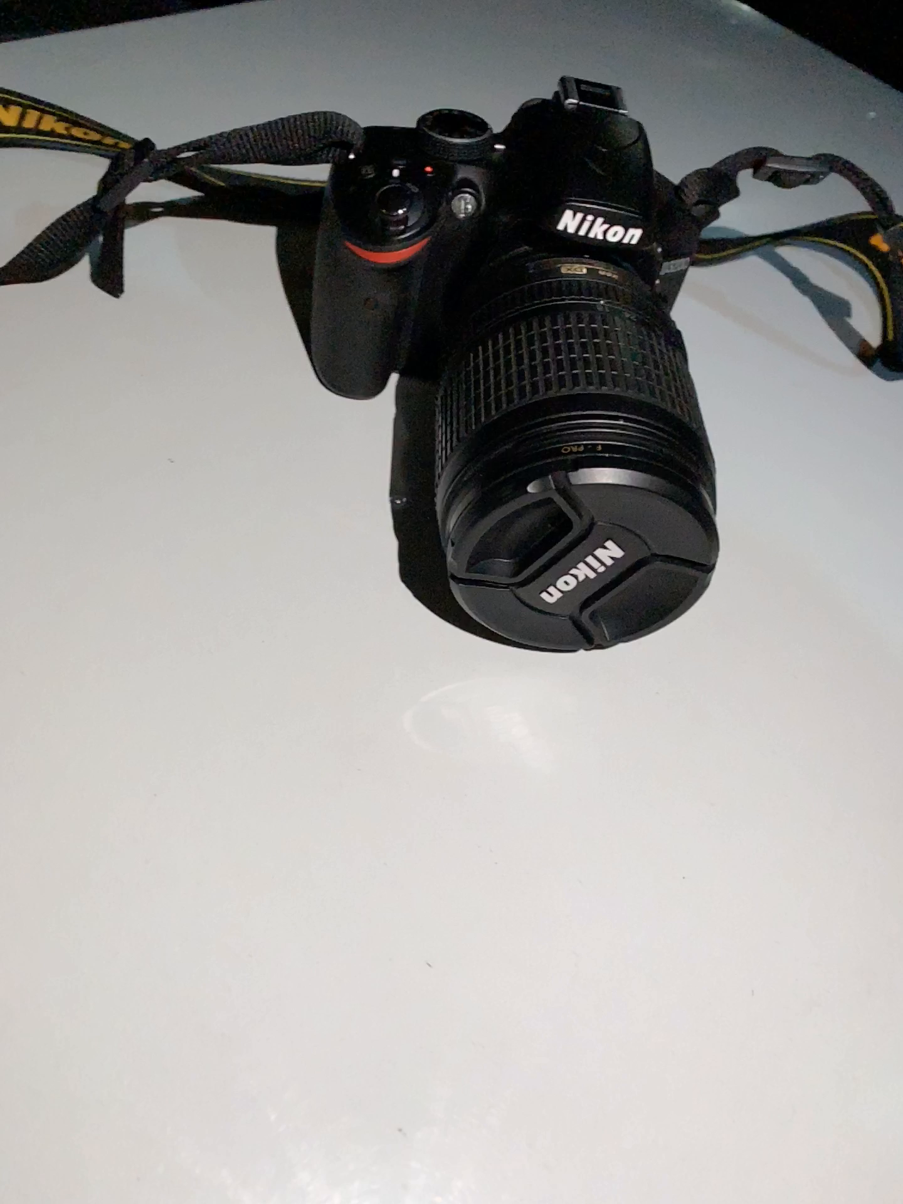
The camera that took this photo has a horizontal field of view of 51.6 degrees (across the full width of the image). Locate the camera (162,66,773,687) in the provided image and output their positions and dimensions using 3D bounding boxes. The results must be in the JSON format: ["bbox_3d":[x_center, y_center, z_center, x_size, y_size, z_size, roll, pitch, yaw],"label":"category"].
[{"bbox_3d":[0.006,-0.085,0.299,0.126,0.099,0.202,4,43,0],"label":"camera"}]
